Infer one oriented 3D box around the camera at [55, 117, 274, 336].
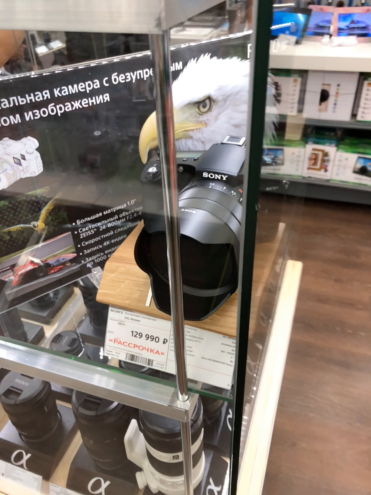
[{"bbox_3d":[-0.002,-0.034,0.369,0.126,0.099,0.179,9,38,16],"label":"camera"}]
